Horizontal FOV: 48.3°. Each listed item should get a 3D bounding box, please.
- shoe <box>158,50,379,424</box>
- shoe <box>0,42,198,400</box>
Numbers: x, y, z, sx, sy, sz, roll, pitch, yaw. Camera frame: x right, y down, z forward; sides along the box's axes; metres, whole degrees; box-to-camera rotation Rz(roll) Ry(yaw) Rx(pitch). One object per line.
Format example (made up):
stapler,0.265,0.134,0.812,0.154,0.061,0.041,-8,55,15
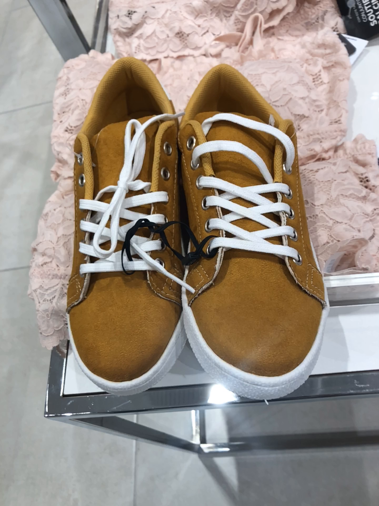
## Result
shoe,0.031,-0.027,0.284,0.100,0.100,0.241,-2,52,-2
shoe,-0.044,-0.033,0.299,0.090,0.100,0.241,0,57,-1
